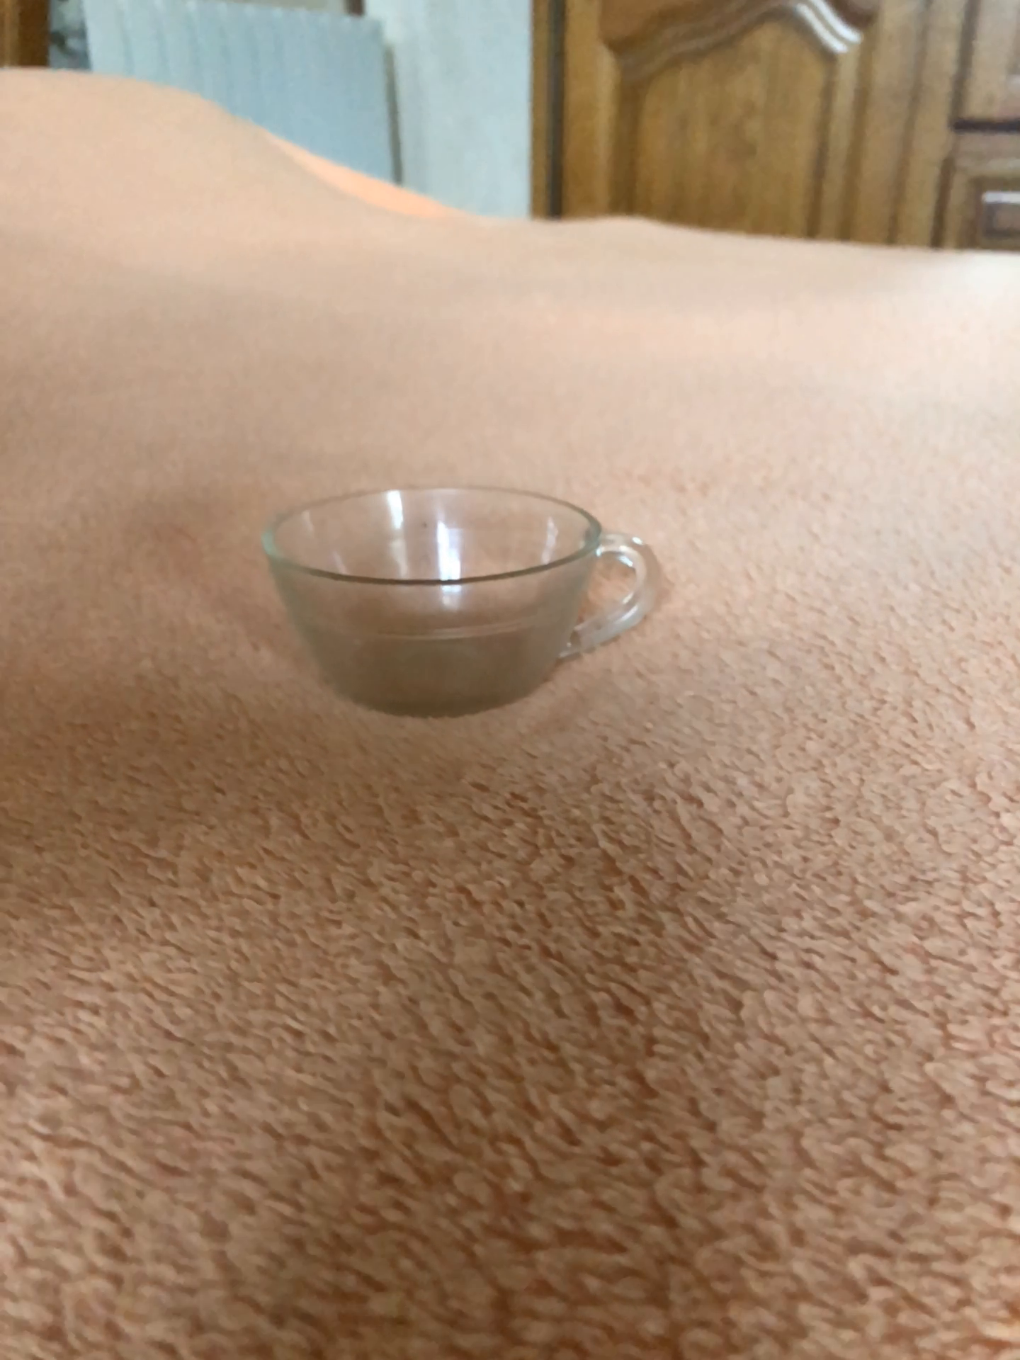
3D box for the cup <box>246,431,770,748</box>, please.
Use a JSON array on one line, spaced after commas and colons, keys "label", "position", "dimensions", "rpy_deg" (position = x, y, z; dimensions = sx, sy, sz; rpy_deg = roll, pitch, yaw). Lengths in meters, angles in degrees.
[{"label": "cup", "position": [-0.006, -0.029, 0.291], "dimensions": [0.110, 0.040, 0.090], "rpy_deg": [-8, 26, -14]}]
